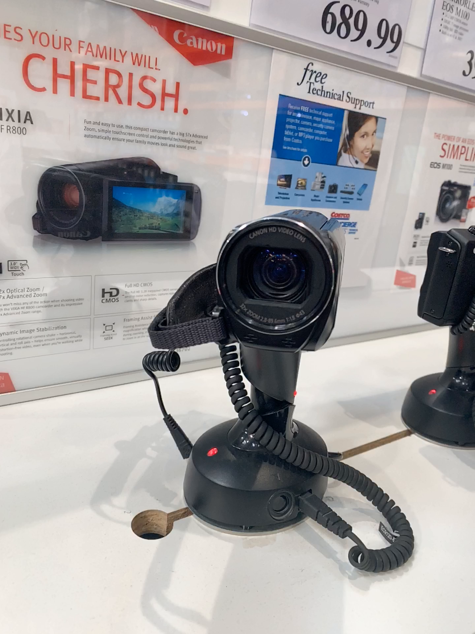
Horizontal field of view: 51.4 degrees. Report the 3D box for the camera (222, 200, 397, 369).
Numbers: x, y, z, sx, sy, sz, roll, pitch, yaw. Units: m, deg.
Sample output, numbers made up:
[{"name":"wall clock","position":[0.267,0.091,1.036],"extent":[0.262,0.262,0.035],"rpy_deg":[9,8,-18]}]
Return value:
[{"name":"camera","position":[0.038,-0.025,0.241],"extent":[0.058,0.054,0.114],"rpy_deg":[10,16,11]}]
